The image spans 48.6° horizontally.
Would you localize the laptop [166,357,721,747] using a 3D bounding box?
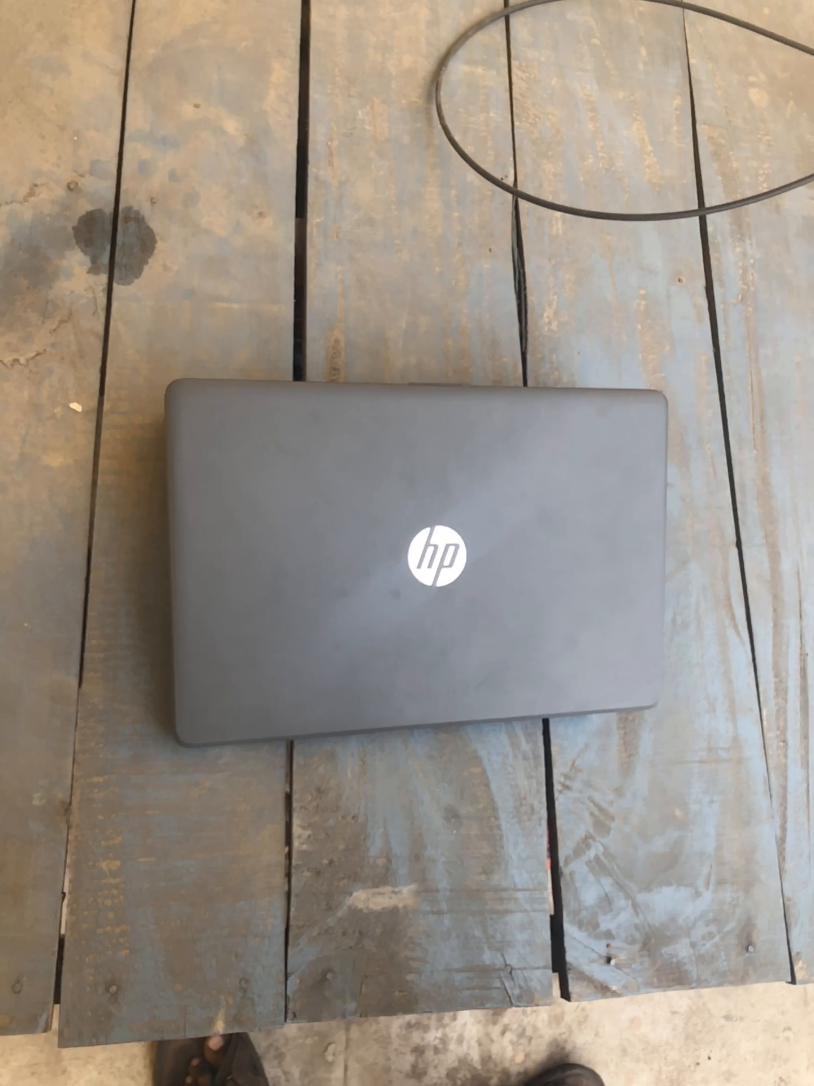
[{"bbox_3d":[0.018,0.005,0.647,0.361,0.096,0.243,-1,75,-15],"label":"laptop"}]
